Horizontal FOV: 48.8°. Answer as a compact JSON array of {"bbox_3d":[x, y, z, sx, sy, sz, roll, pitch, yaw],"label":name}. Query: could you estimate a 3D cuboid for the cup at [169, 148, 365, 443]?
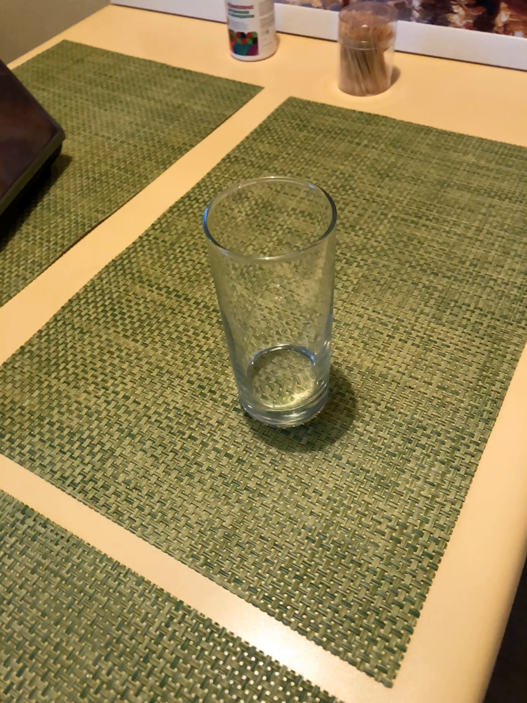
[{"bbox_3d":[0.008,-0.025,0.317,0.070,0.139,0.070,-2,50,3],"label":"cup"}]
